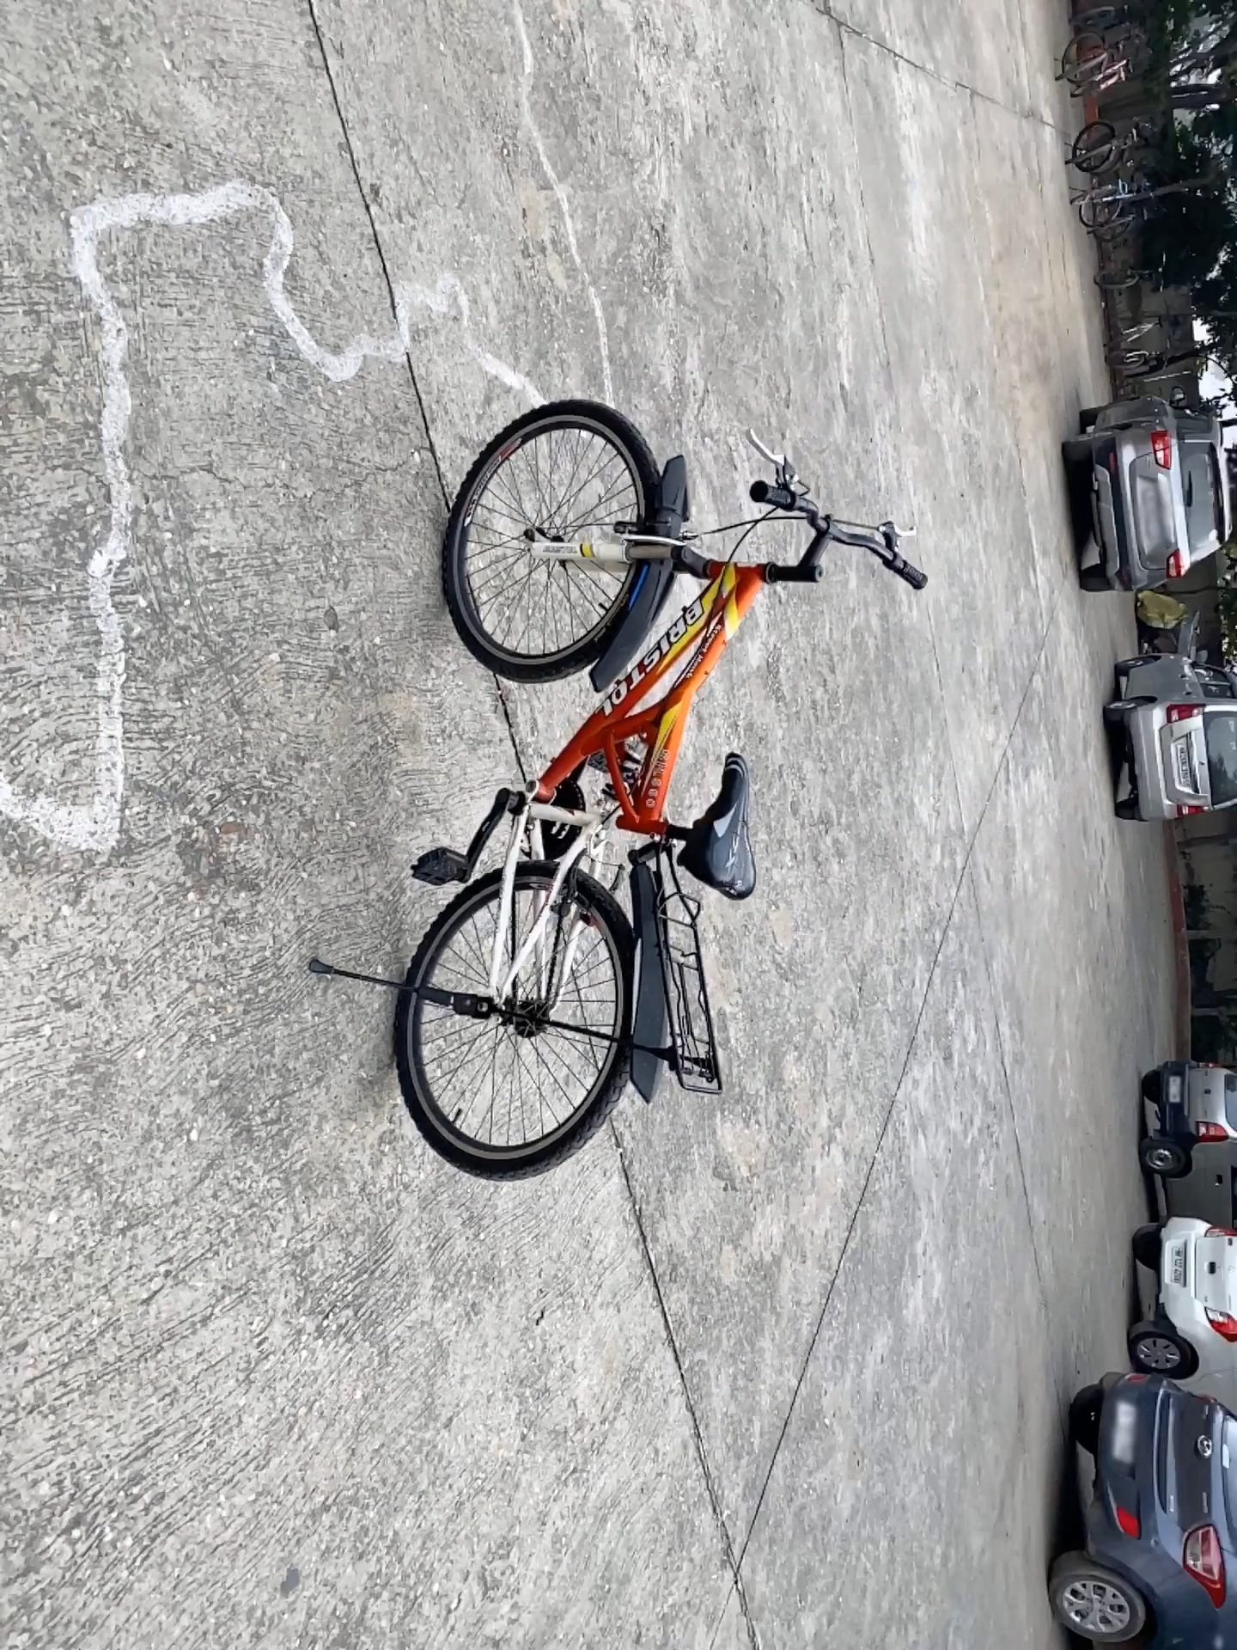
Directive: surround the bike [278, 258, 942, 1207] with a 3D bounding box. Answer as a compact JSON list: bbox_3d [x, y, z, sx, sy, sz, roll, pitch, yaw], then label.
[{"bbox_3d":[0.017,-0.122,2.352,0.587,0.977,1.512,29,60,-59],"label":"bike"}]
